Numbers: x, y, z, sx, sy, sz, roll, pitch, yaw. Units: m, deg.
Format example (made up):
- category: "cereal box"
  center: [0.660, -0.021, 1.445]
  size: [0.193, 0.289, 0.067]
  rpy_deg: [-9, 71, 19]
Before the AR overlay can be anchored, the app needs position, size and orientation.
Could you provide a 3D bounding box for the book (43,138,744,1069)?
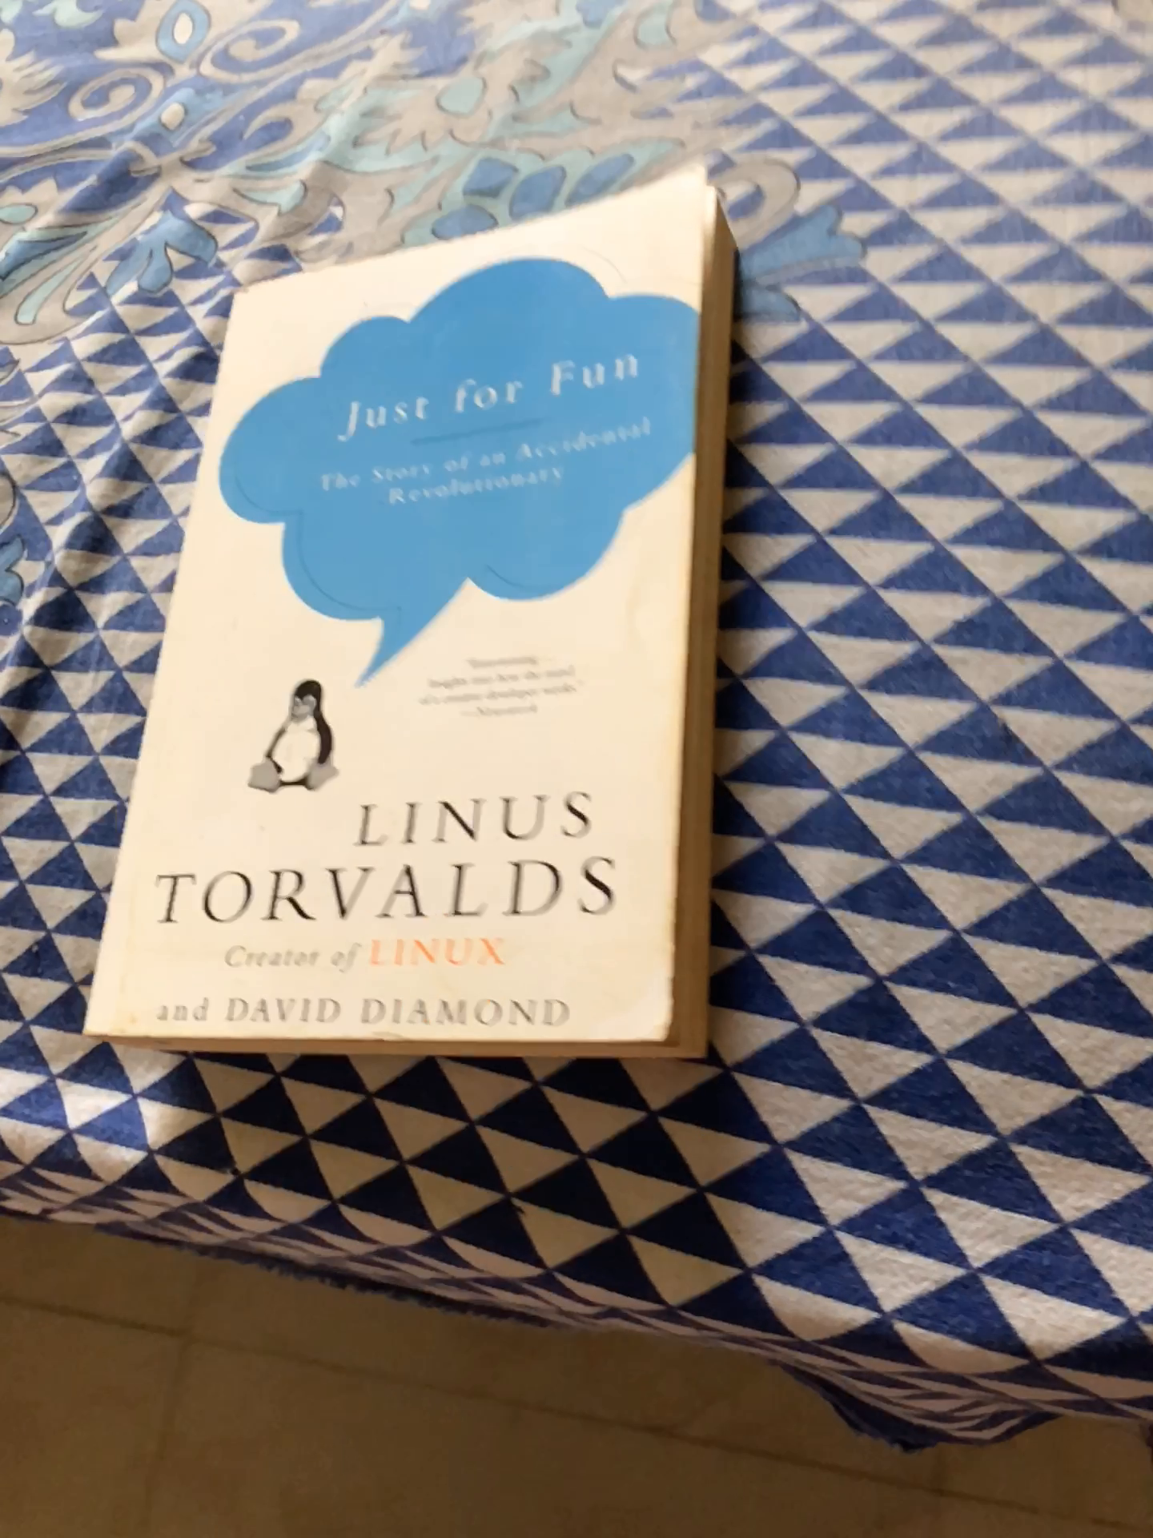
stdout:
- category: "book"
  center: [-0.036, -0.040, 0.301]
  size: [0.140, 0.030, 0.210]
  rpy_deg: [-4, 67, 21]
